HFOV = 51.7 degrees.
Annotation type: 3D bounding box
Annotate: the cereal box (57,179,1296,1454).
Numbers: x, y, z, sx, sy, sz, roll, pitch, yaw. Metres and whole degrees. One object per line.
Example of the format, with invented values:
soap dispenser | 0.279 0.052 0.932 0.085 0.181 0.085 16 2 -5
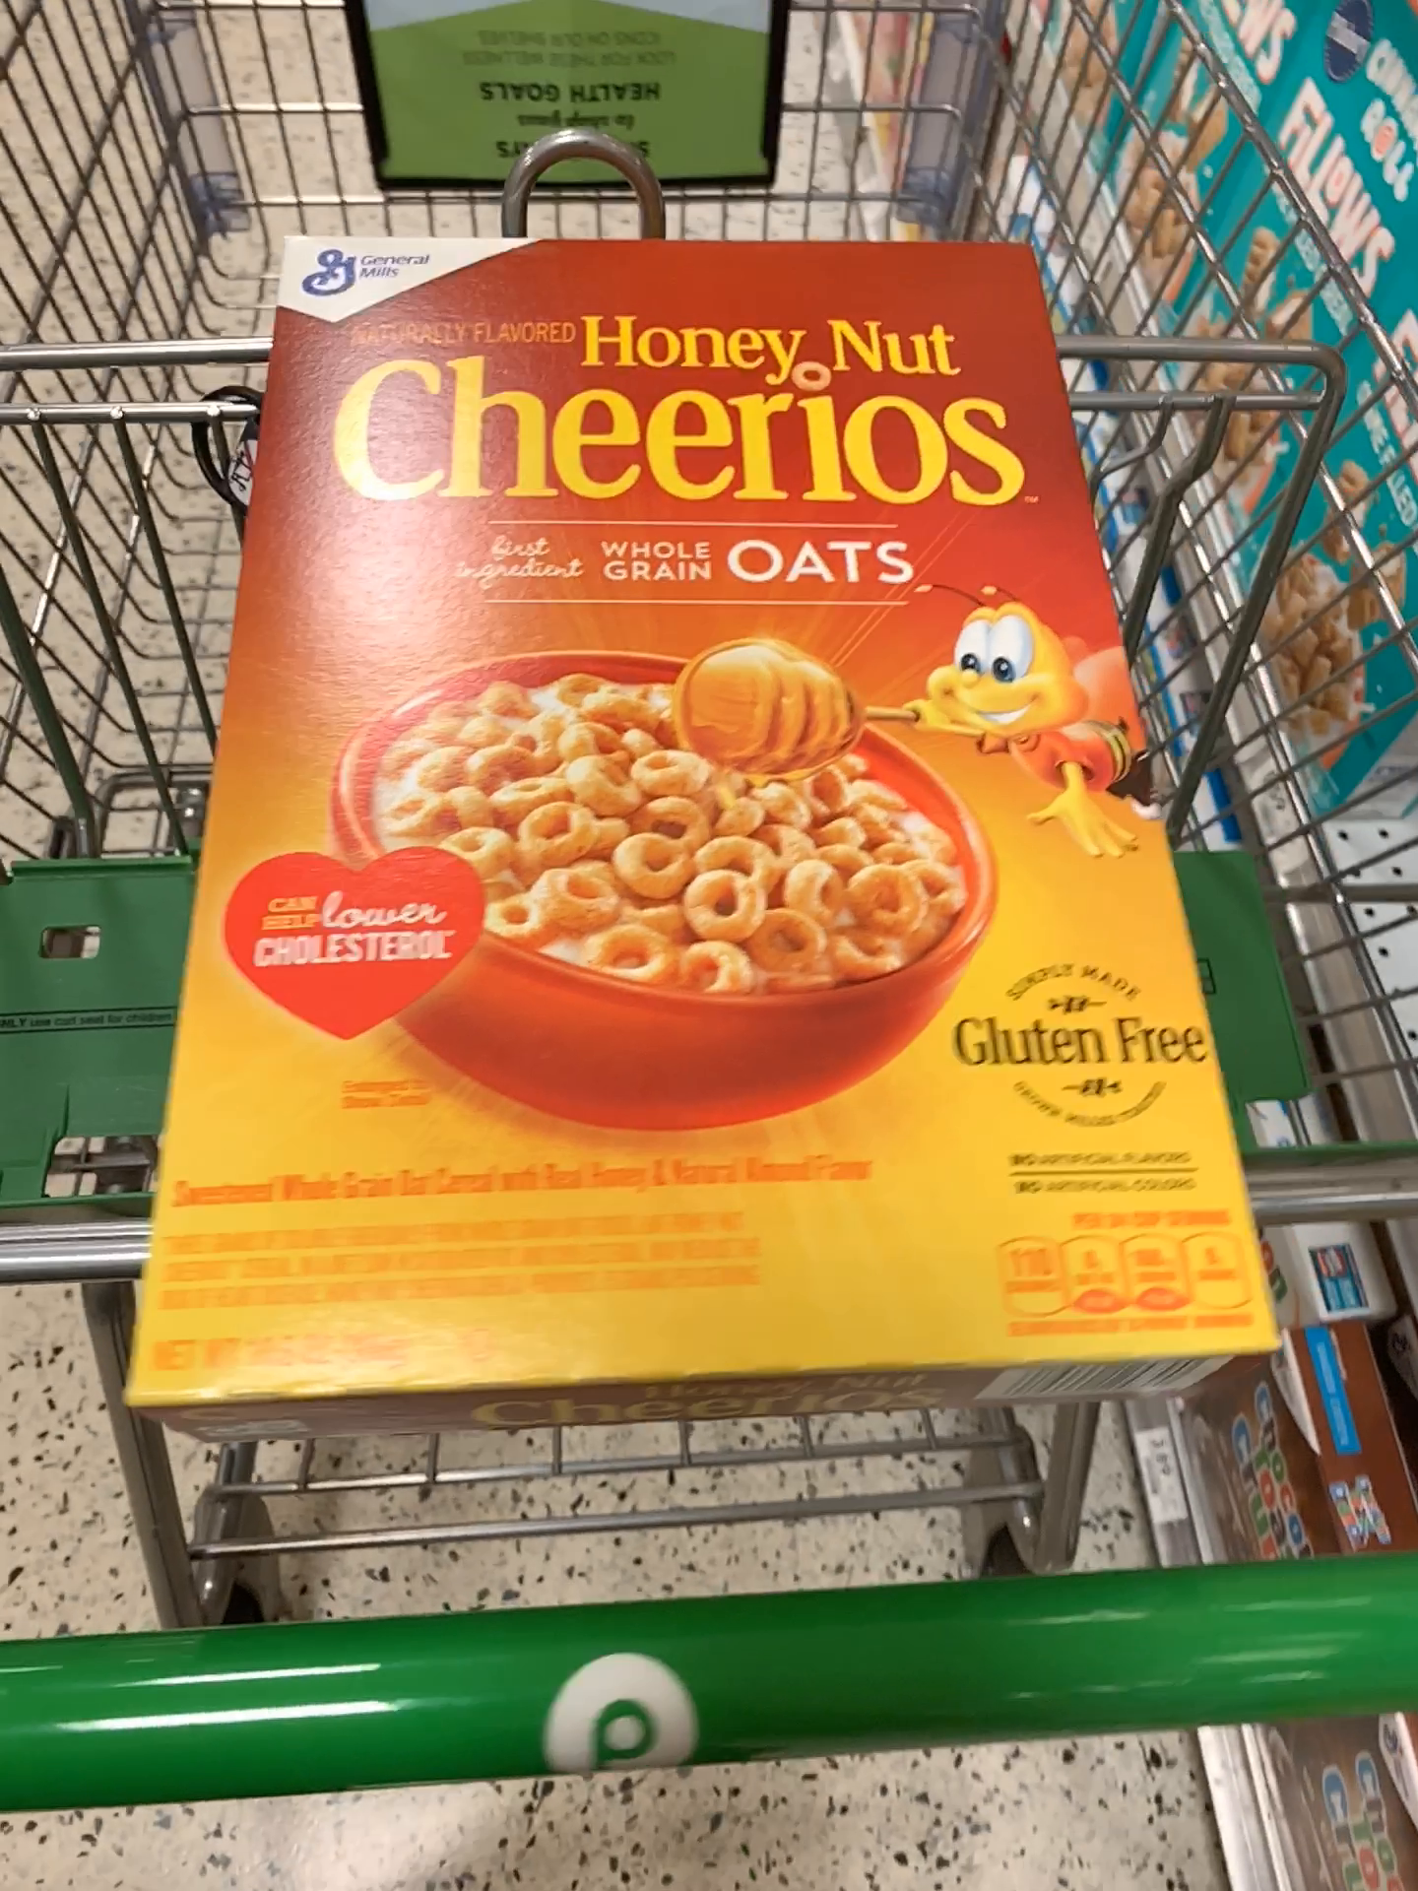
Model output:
cereal box | -0.011 -0.048 0.328 0.200 0.060 0.292 -2 63 -4
